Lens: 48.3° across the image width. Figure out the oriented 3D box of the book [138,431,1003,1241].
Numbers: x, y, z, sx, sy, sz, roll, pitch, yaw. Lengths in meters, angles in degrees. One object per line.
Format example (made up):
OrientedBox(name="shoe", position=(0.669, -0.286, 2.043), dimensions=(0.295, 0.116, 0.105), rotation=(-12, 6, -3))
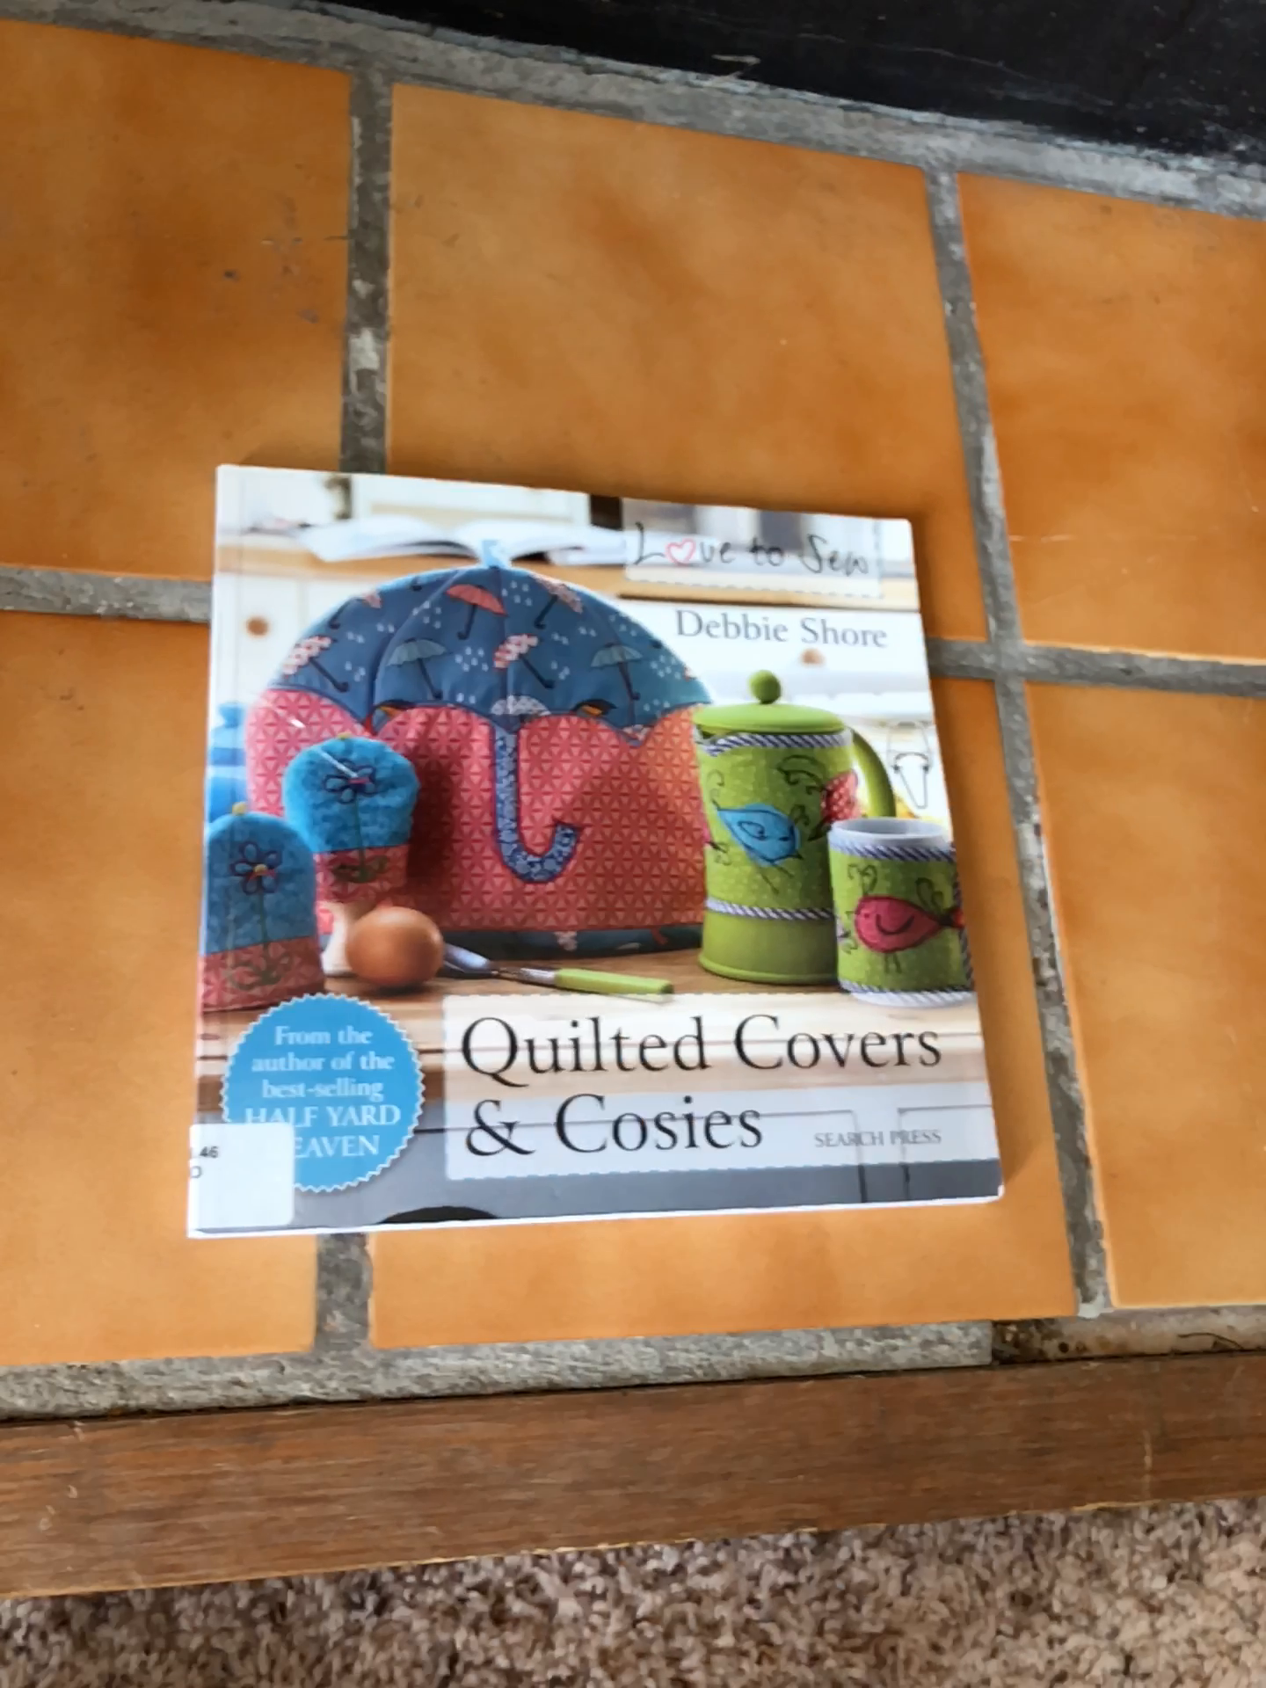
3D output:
OrientedBox(name="book", position=(-0.016, -0.008, 0.399), dimensions=(0.225, 0.015, 0.219), rotation=(1, 72, -15))
